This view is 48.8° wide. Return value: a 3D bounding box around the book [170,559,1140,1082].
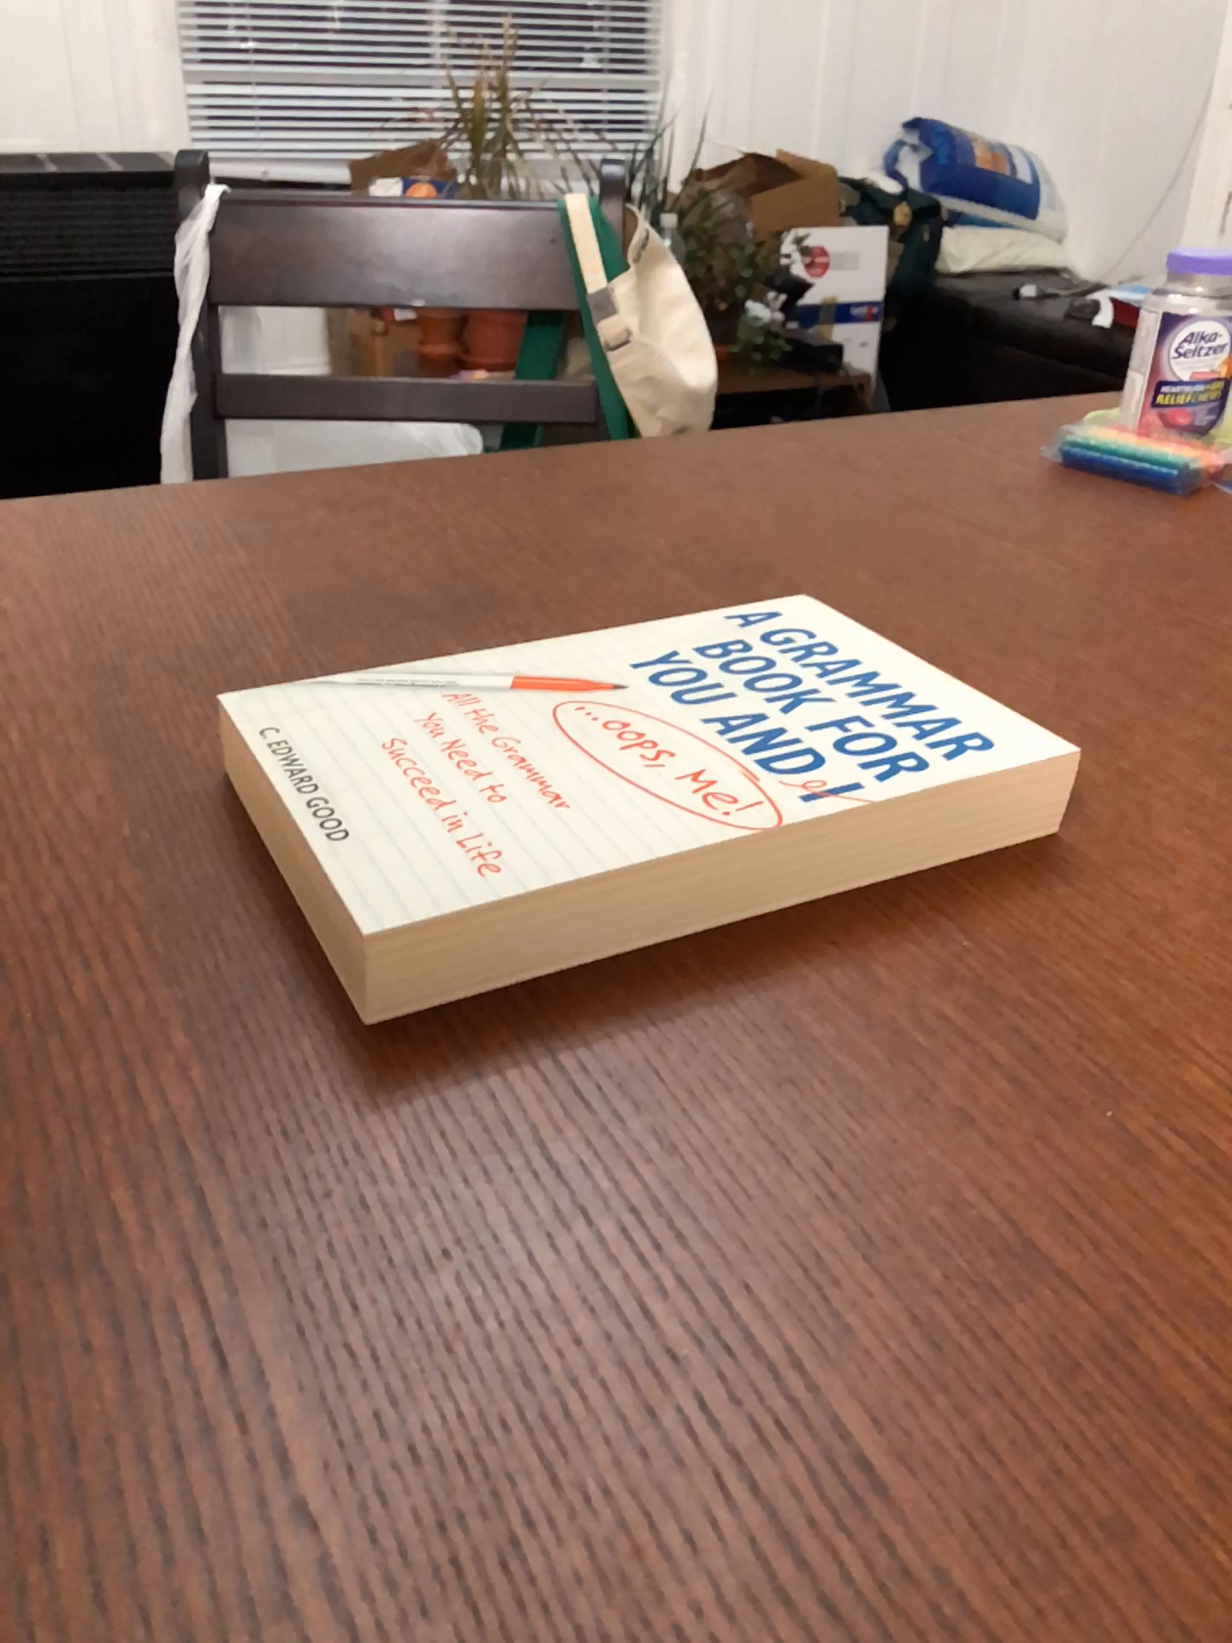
[{"bbox_3d":[0.005,-0.020,0.418,0.240,0.040,0.171,-13,33,-23],"label":"book"}]
